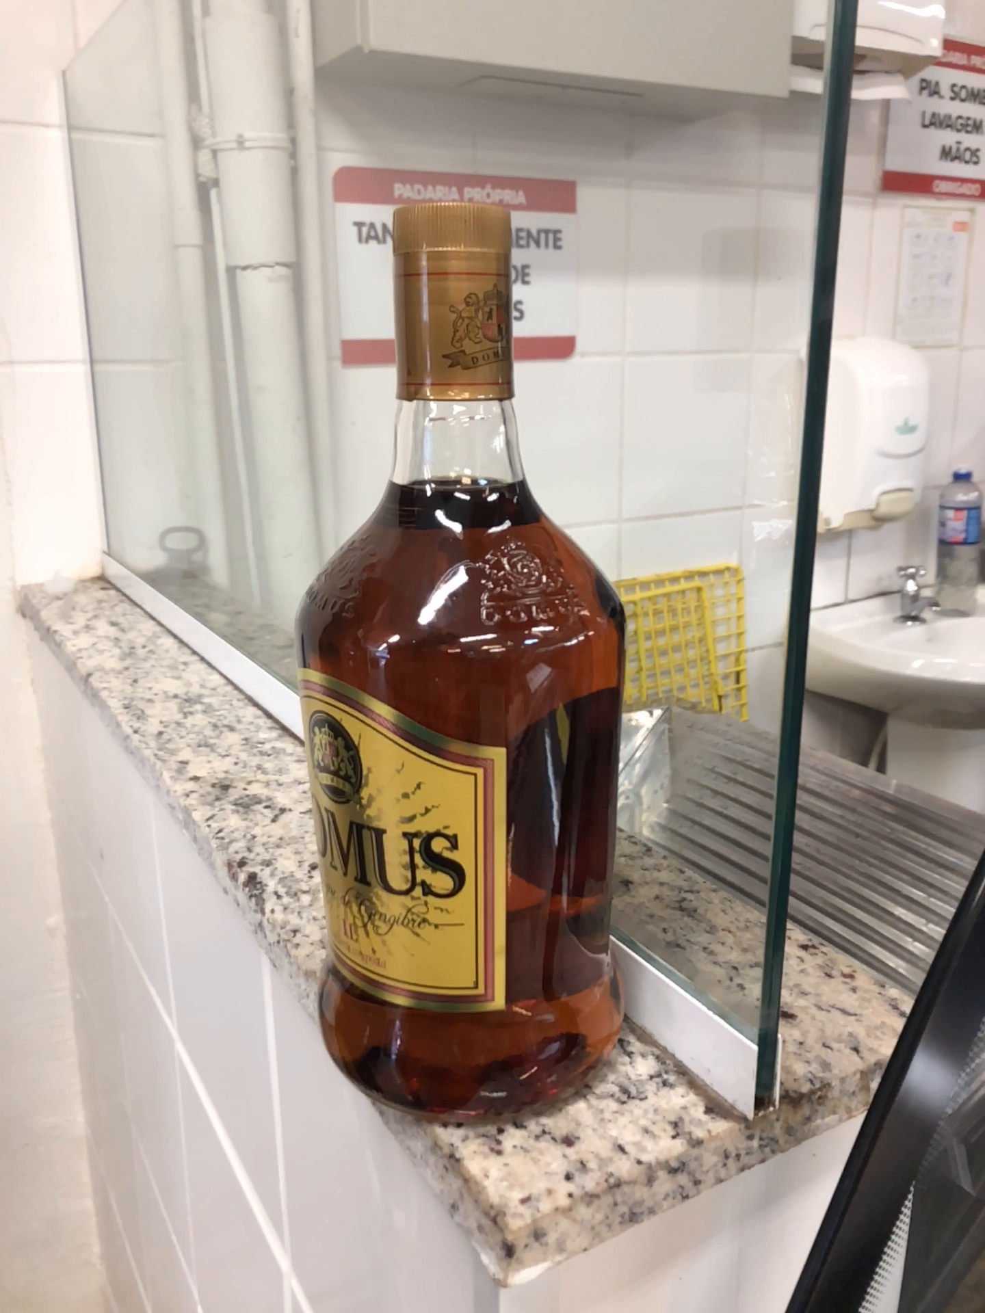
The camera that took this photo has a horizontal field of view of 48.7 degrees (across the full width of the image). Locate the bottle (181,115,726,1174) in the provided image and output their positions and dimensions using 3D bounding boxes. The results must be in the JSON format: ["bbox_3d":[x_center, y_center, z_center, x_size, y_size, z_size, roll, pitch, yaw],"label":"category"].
[{"bbox_3d":[-0.007,-0.007,0.330,0.100,0.259,0.110,13,21,43],"label":"bottle"}]
